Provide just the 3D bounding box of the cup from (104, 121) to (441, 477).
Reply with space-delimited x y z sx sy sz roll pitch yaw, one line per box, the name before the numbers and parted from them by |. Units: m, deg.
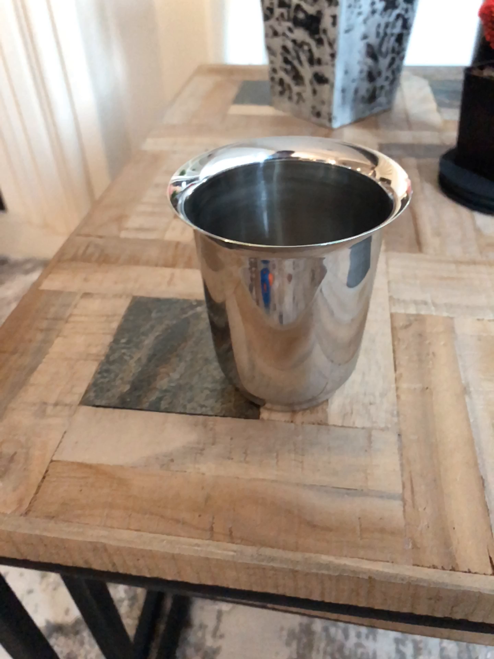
cup | 0.012 -0.017 0.219 0.082 0.088 0.085 -2 40 1
